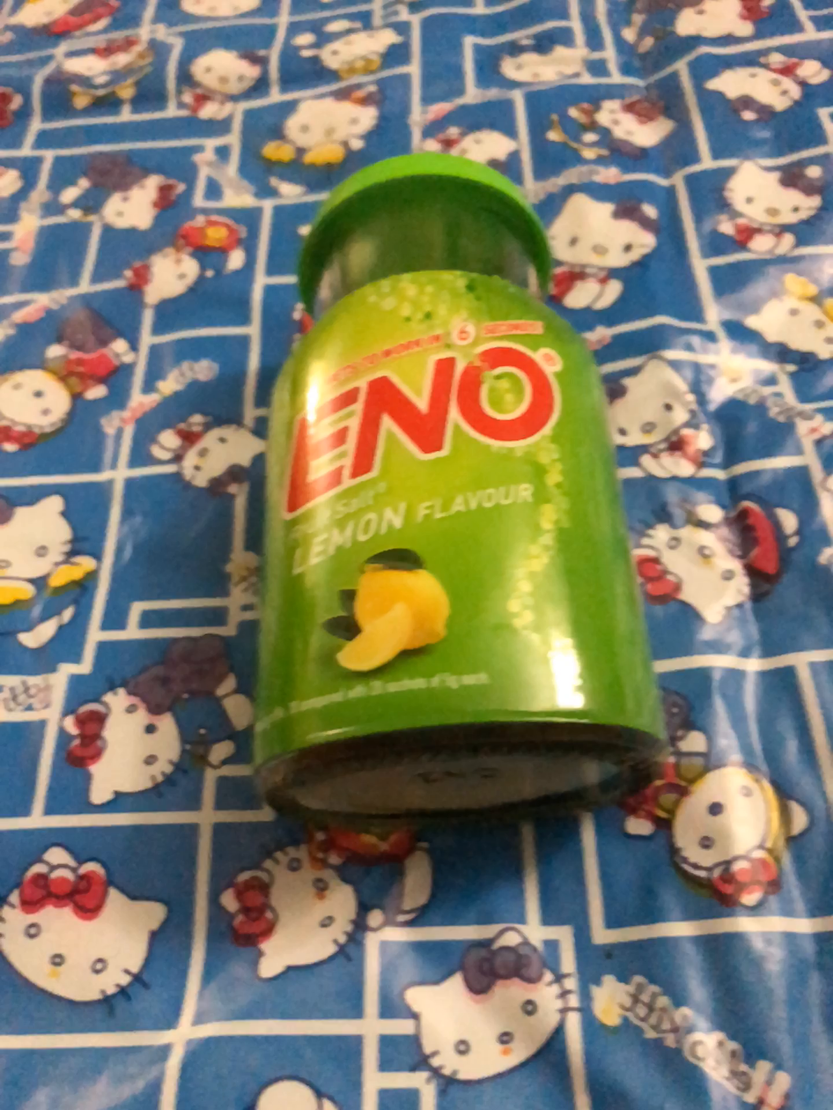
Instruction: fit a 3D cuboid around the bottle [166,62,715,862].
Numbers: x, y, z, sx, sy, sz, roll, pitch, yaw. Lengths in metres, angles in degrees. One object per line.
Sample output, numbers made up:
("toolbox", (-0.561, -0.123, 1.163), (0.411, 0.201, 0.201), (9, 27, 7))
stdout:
("bottle", (0.002, -0.015, 0.150), (0.060, 0.050, 0.110), (-6, 63, 6))
